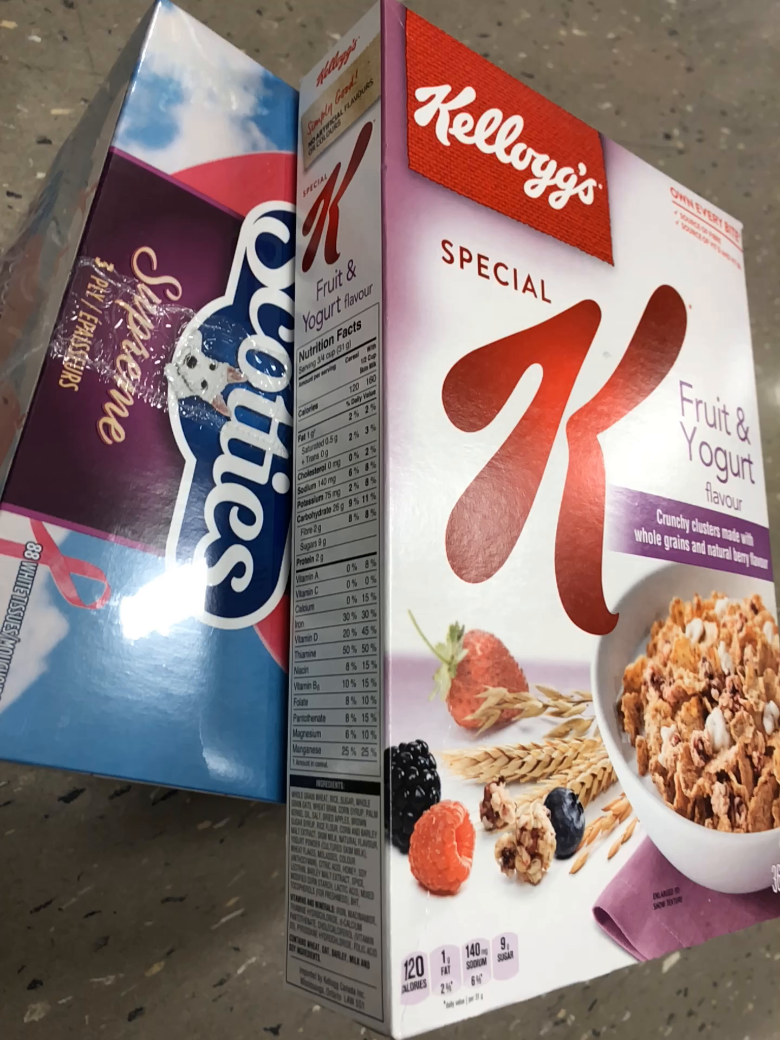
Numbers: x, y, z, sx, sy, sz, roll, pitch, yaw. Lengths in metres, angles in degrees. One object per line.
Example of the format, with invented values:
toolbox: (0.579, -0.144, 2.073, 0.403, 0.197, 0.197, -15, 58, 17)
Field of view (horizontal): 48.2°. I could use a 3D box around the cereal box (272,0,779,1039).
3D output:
cereal box: (0.064, -0.006, 0.294, 0.211, 0.050, 0.280, 10, 72, -38)
